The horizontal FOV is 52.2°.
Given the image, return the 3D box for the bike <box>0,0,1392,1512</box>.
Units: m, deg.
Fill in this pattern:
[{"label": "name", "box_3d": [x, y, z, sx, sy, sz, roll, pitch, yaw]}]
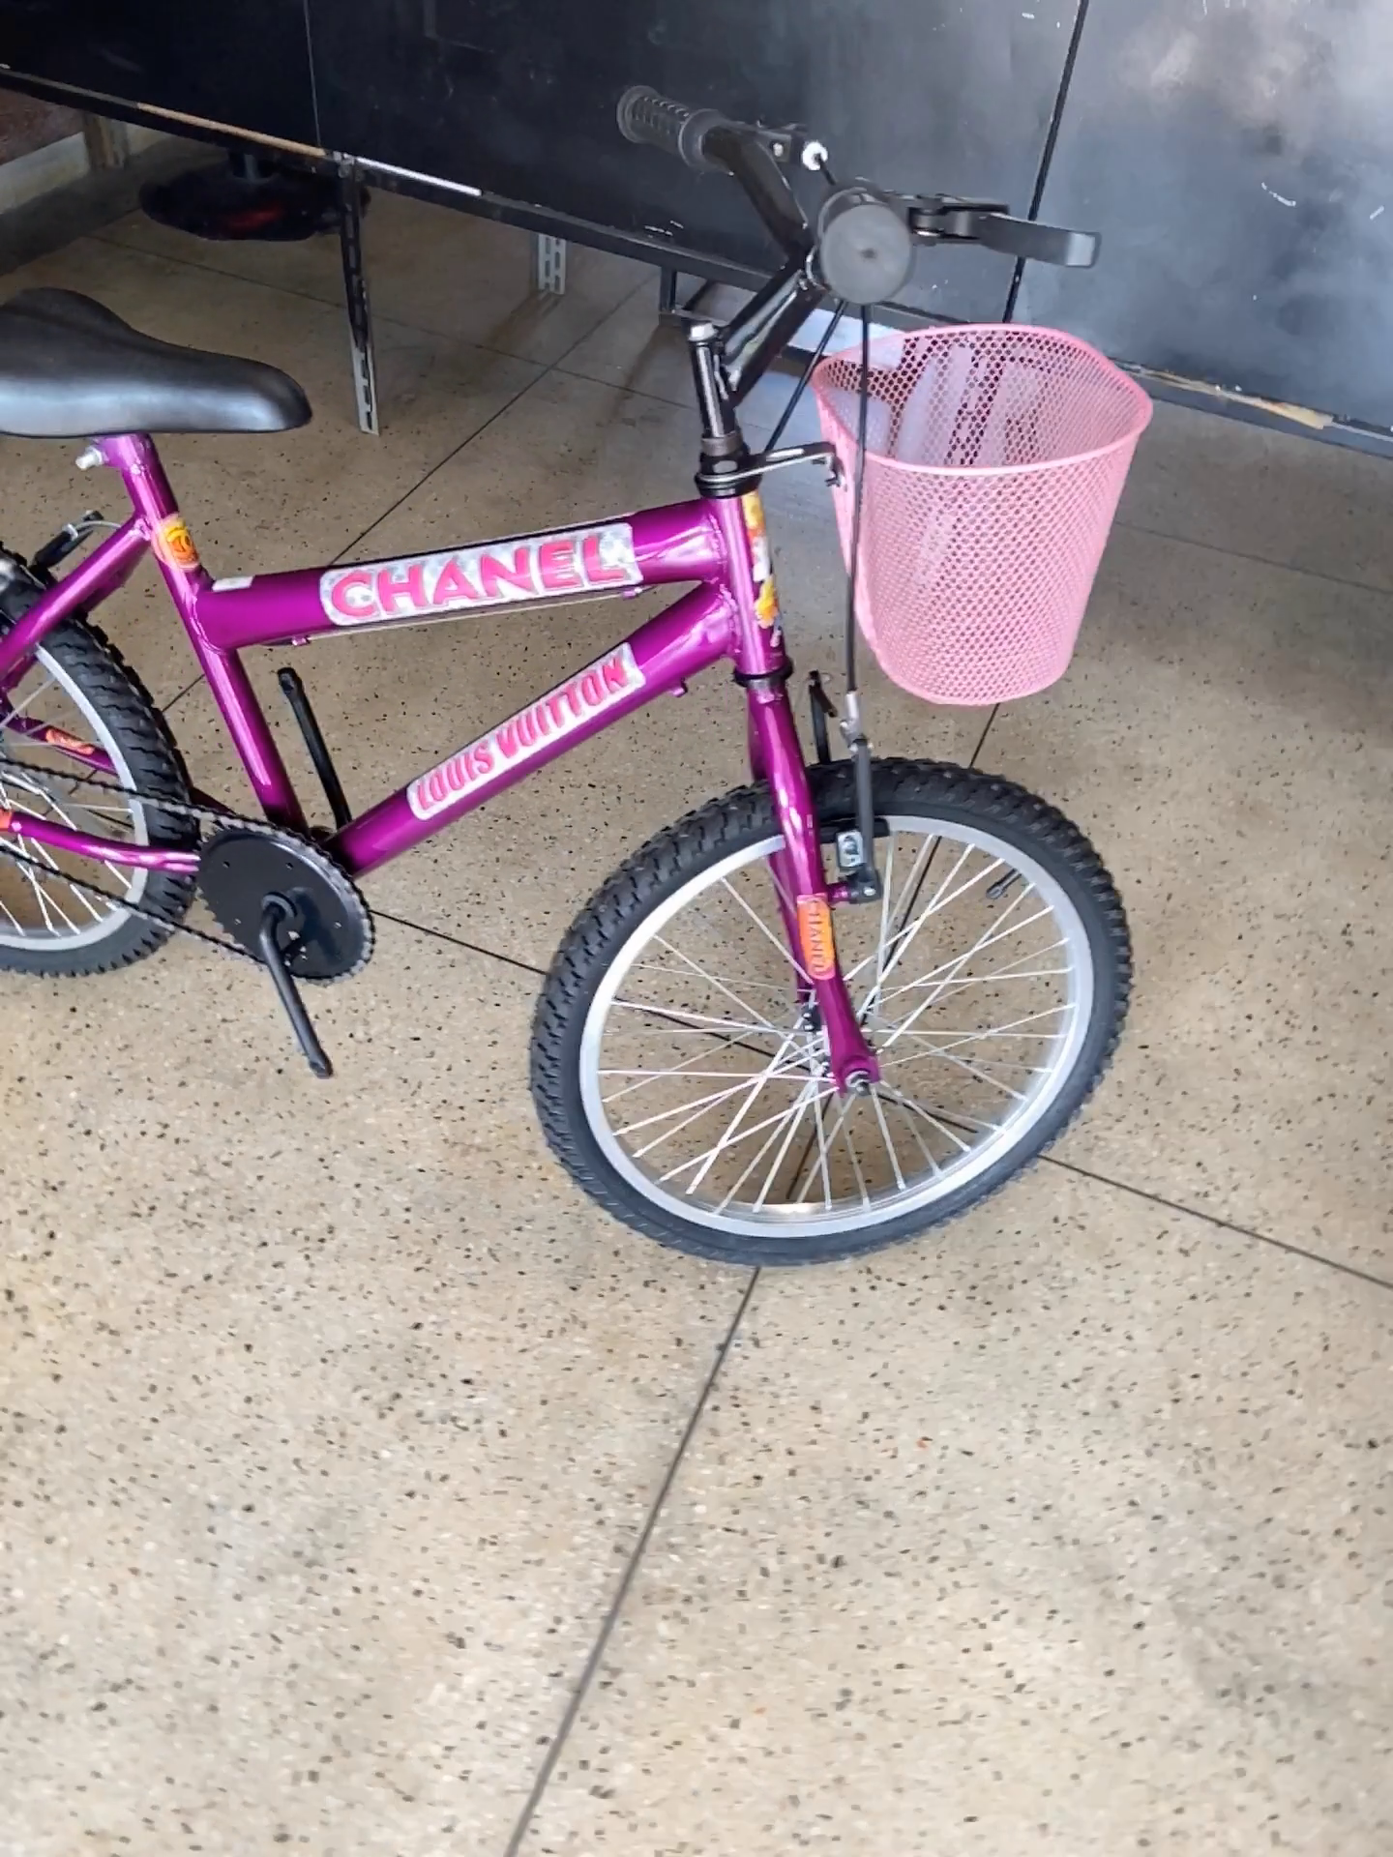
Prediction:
[{"label": "bike", "box_3d": [-0.255, -0.200, 1.094, 1.261, 0.933, 0.618, 14, 47, 7]}]
